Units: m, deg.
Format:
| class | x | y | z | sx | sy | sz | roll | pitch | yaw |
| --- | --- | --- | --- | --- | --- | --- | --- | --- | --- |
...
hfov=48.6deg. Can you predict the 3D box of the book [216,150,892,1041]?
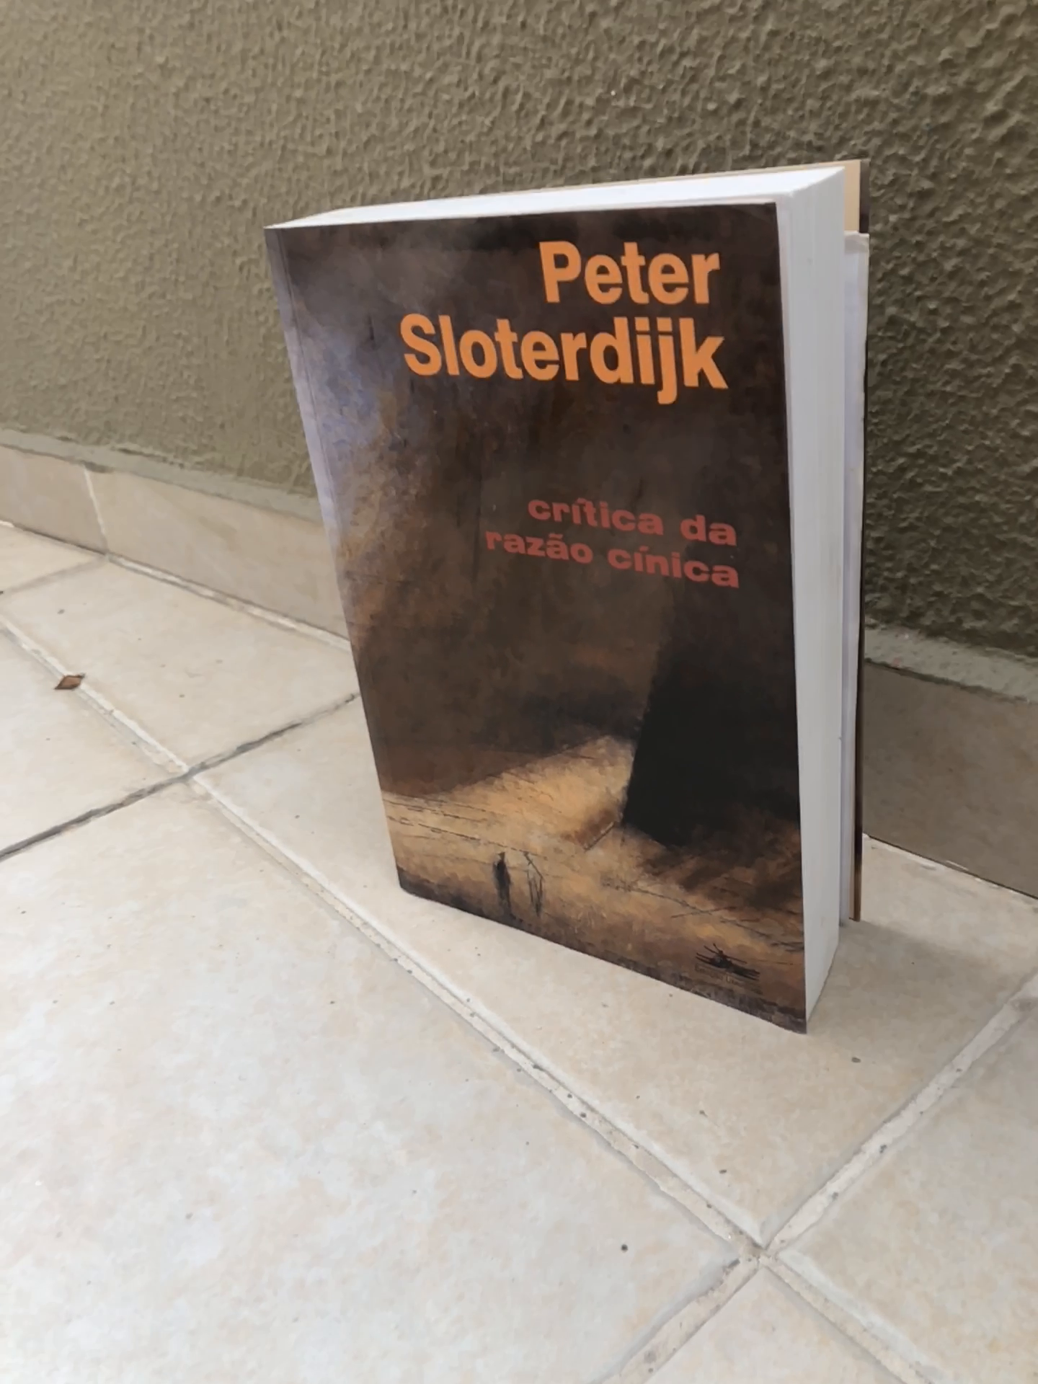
| class | x | y | z | sx | sy | sz | roll | pitch | yaw |
| --- | --- | --- | --- | --- | --- | --- | --- | --- | --- |
| book | 0.016 | -0.027 | 0.336 | 0.165 | 0.220 | 0.058 | 12 | 33 | 34 |
